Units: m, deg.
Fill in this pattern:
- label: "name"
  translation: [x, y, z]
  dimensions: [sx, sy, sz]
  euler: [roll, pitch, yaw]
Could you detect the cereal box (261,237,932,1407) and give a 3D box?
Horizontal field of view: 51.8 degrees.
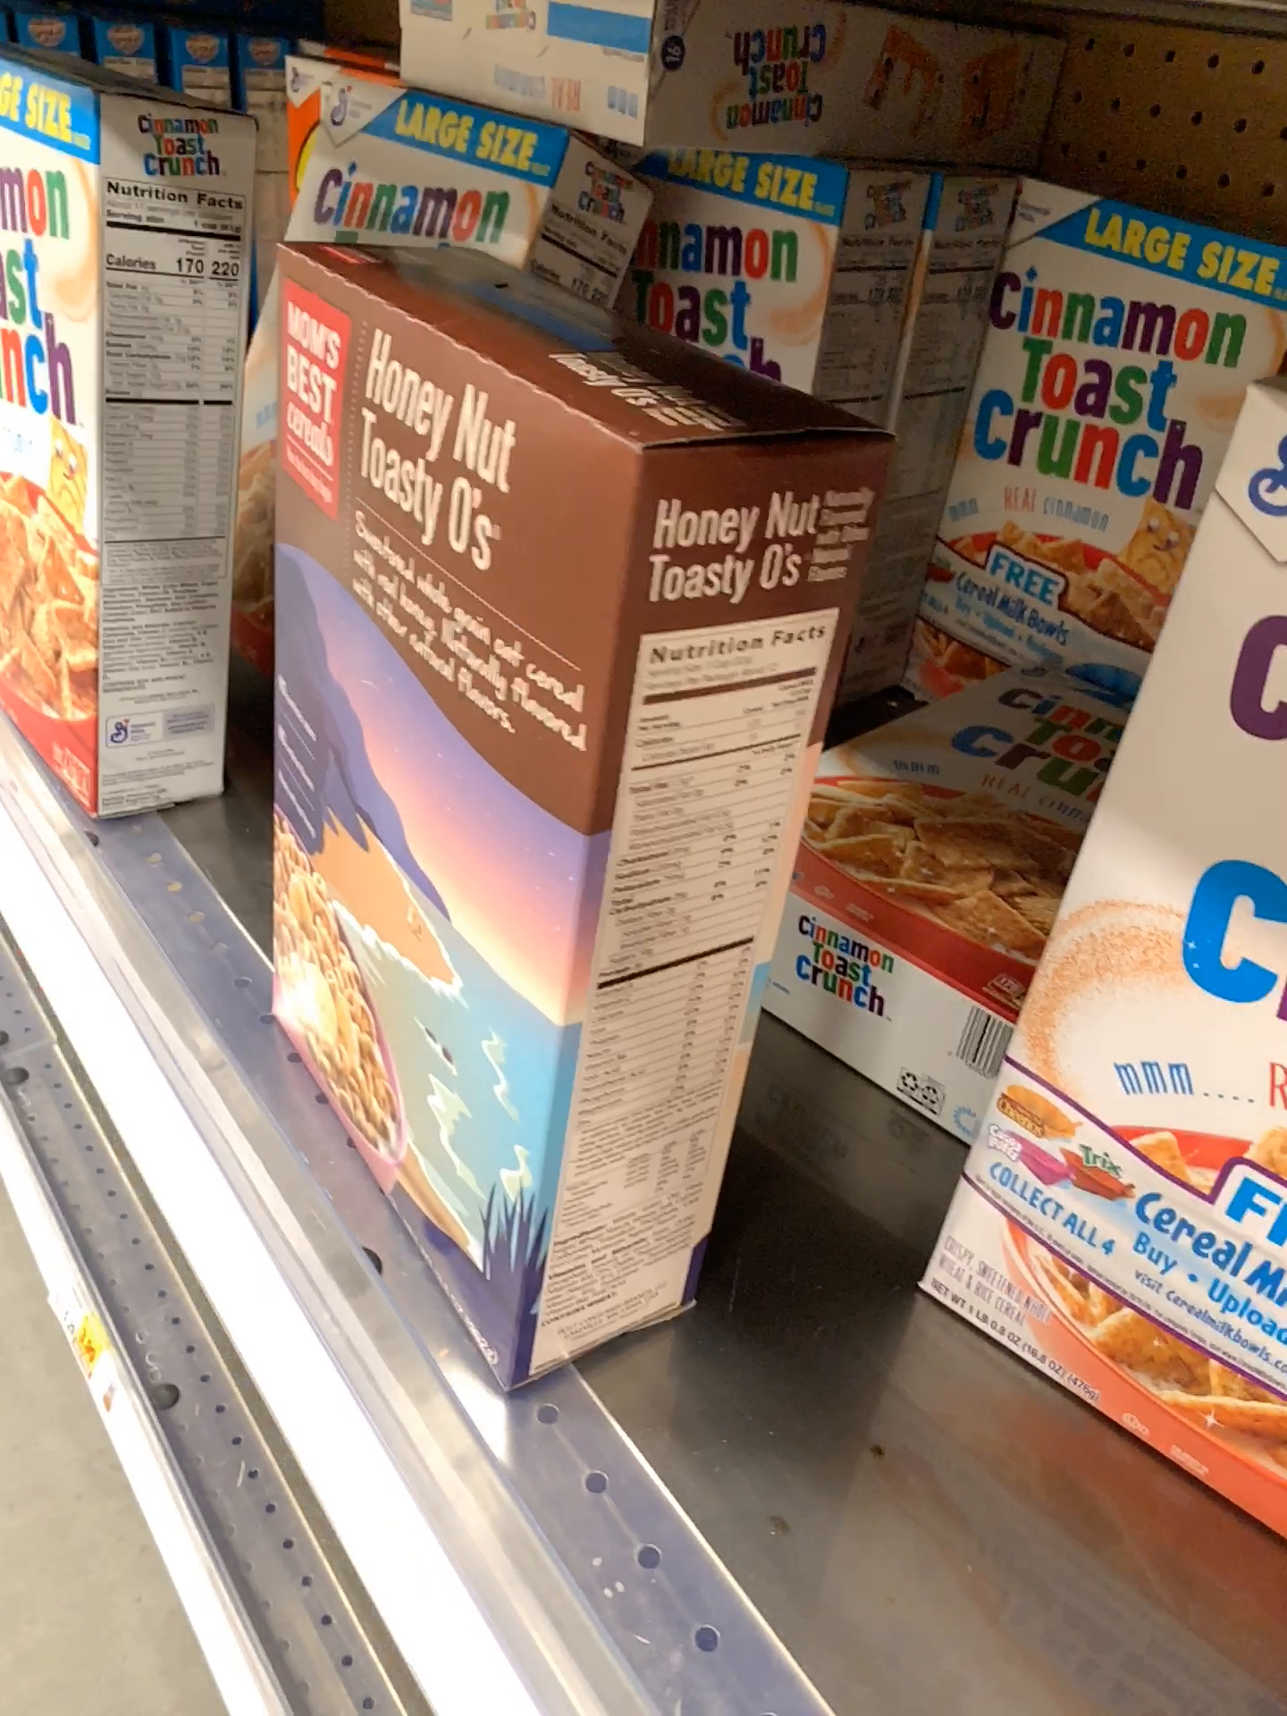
- label: "cereal box"
  translation: [-0.043, -0.015, 0.400]
  dimensions: [0.070, 0.279, 0.201]
  euler: [-14, 38, -33]
